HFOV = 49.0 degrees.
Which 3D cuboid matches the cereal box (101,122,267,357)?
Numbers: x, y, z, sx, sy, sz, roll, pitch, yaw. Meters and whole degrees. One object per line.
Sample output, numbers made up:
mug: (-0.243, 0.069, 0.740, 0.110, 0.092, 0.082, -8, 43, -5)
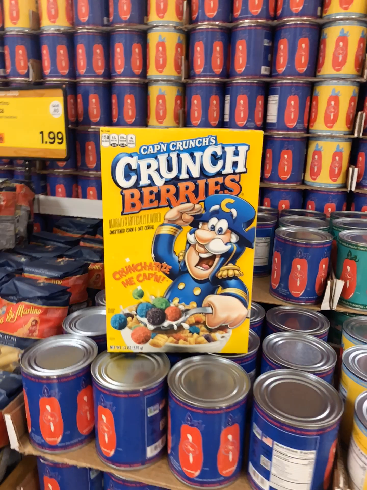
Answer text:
cereal box: (-0.003, -0.003, 0.530, 0.190, 0.299, 0.060, 1, 16, -1)
